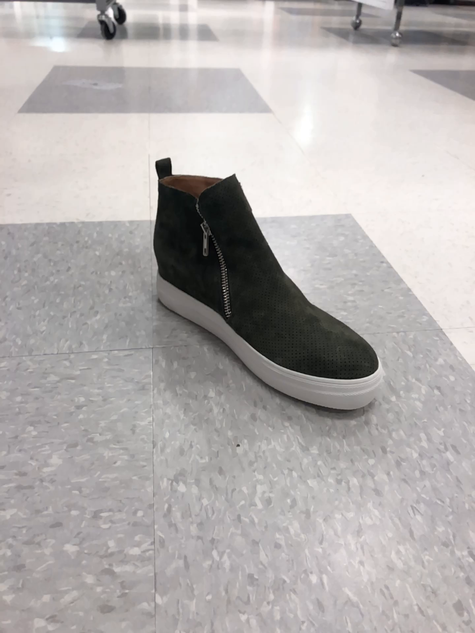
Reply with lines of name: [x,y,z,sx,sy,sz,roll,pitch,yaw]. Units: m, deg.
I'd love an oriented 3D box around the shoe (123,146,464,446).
shoe: [0.028,-0.041,0.486,0.109,0.141,0.292,-27,44,-35]
